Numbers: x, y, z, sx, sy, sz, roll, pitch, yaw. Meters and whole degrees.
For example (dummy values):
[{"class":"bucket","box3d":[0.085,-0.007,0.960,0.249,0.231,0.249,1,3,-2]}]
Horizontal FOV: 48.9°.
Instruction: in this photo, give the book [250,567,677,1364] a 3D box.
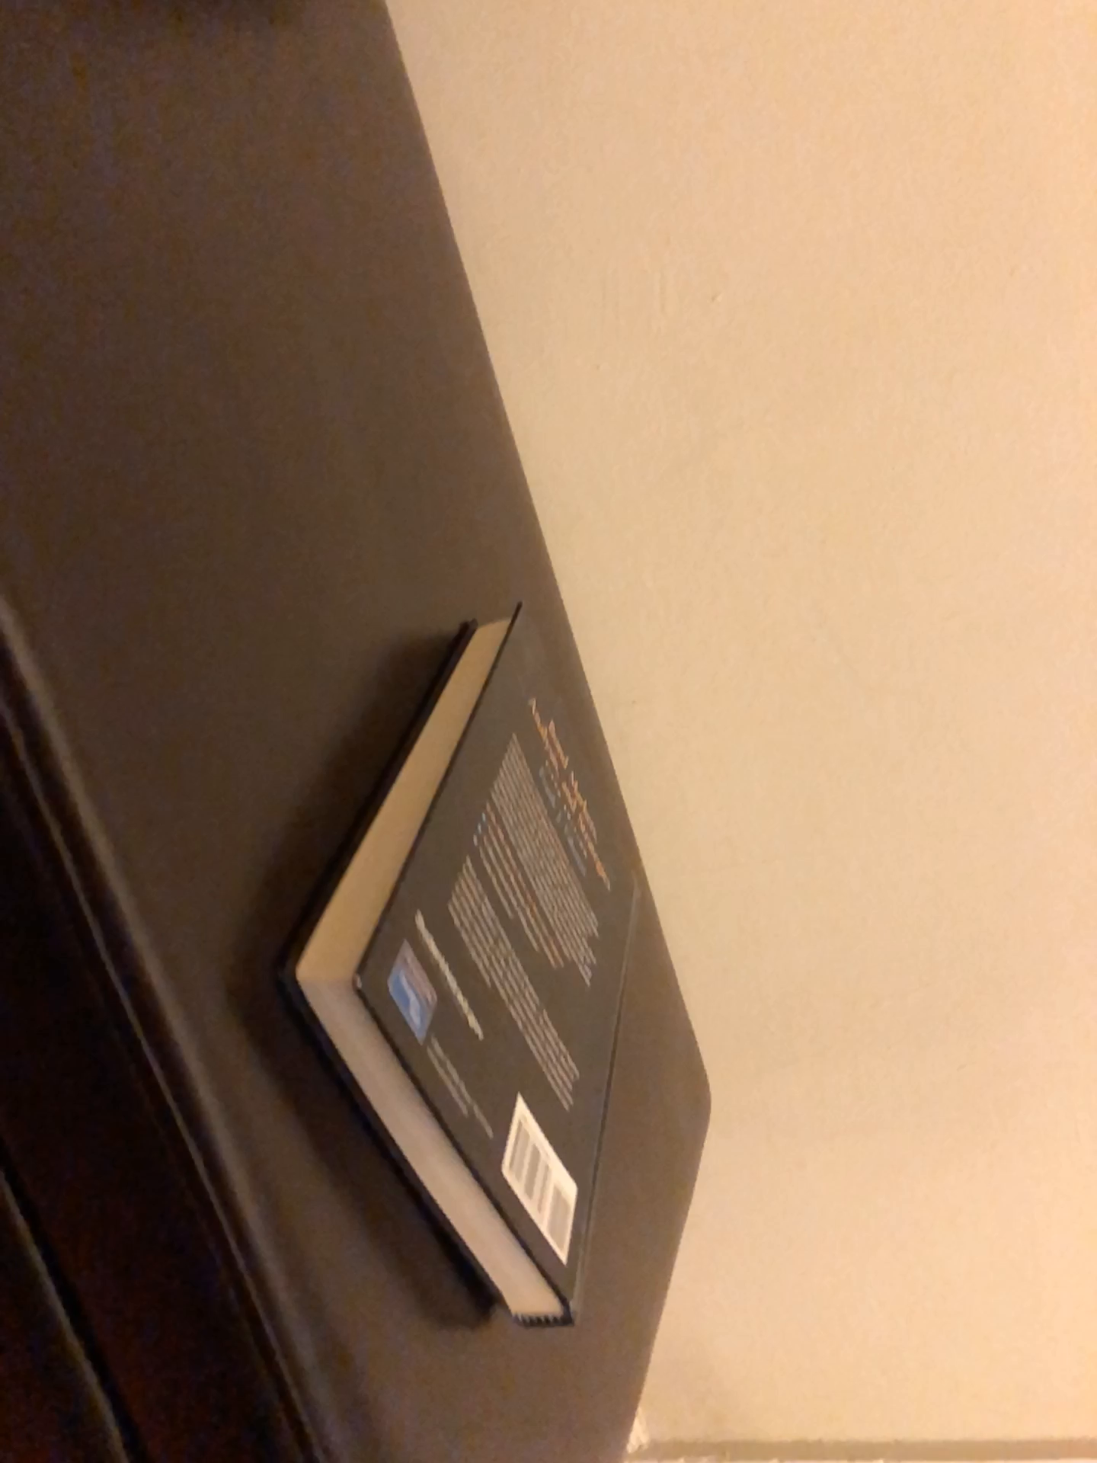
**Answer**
[{"class":"book","box3d":[-0.010,0.081,0.506,0.261,0.040,0.200,-71,143,-54]}]
